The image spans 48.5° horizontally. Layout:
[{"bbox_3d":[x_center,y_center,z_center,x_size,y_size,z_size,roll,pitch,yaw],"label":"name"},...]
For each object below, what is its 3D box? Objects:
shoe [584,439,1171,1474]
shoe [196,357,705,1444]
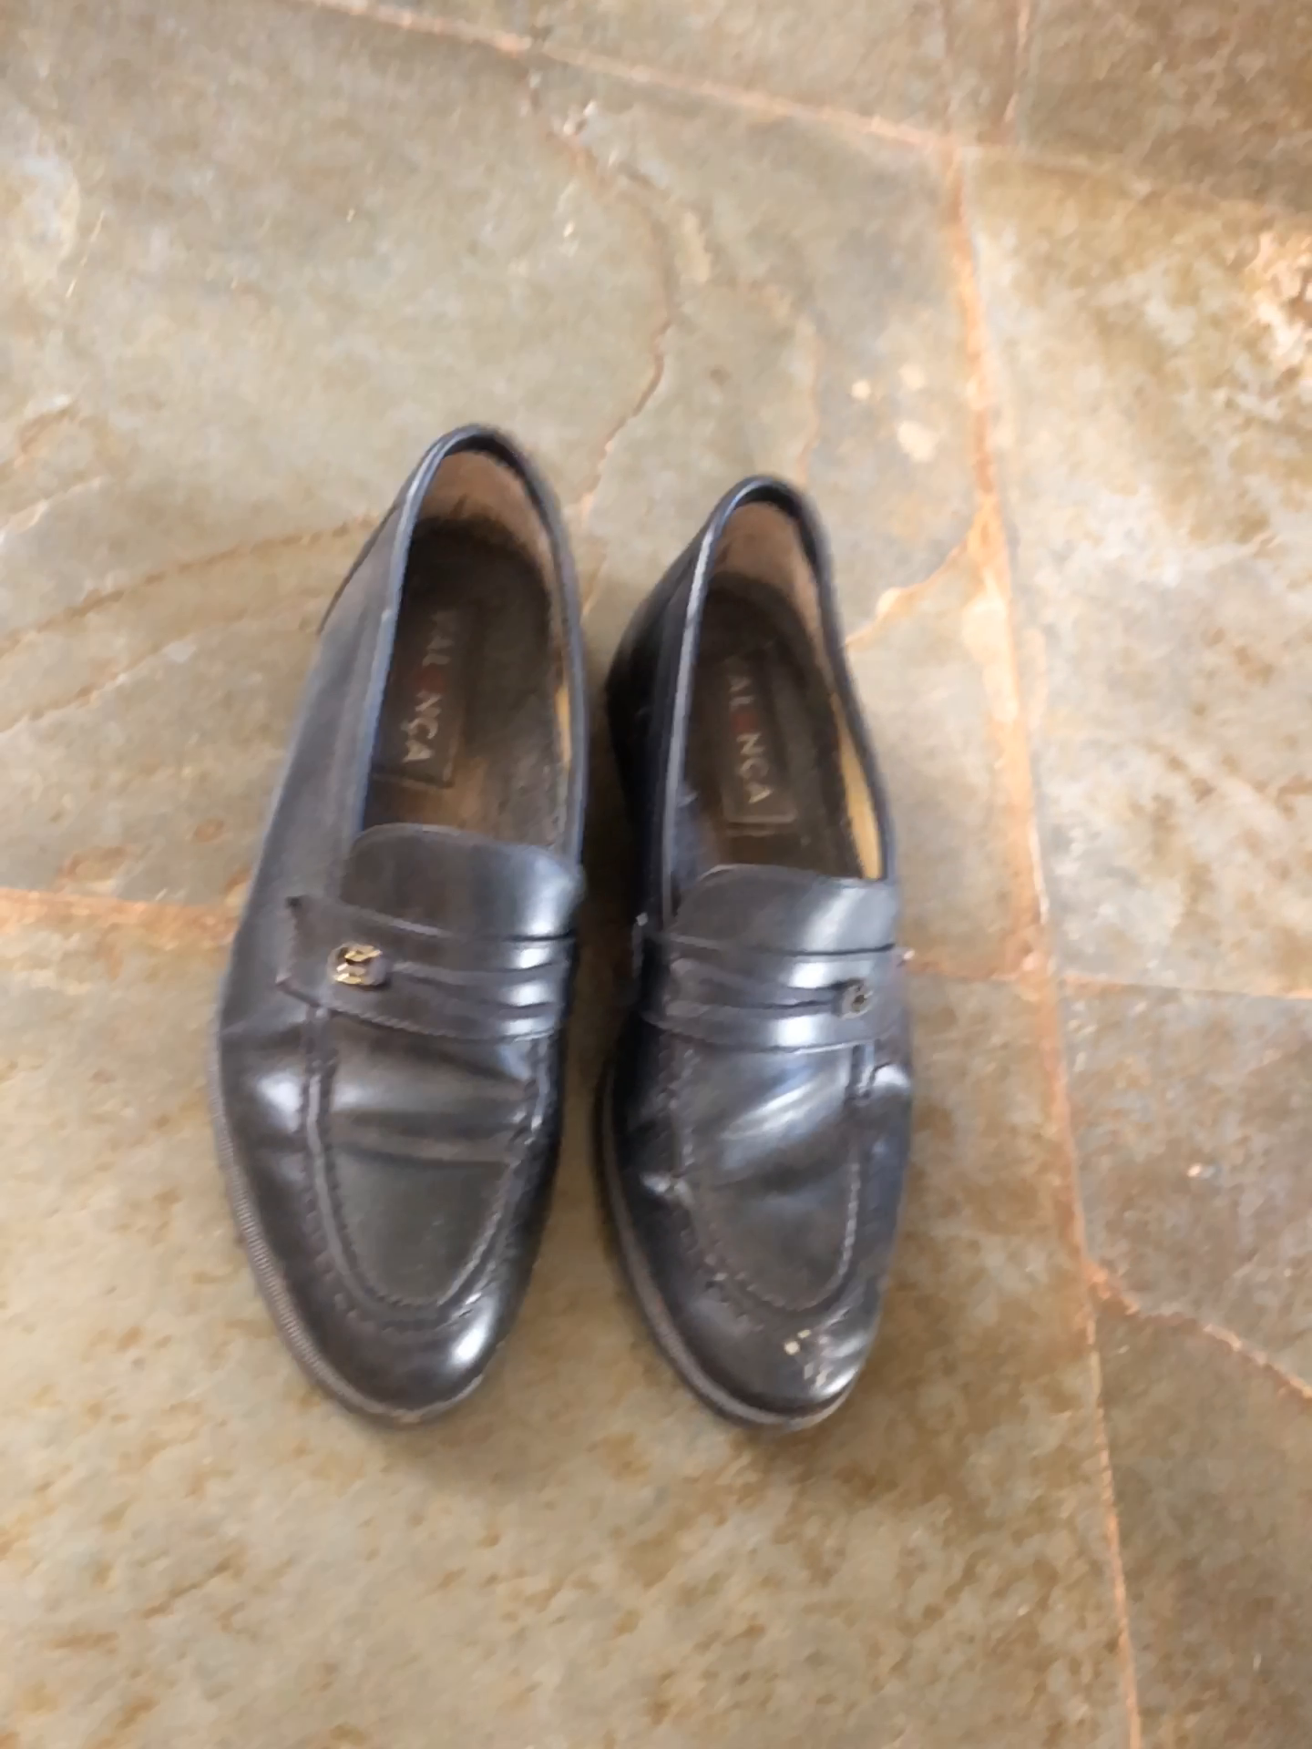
[{"bbox_3d":[0.045,0.021,0.405,0.100,0.100,0.261,2,66,-14],"label":"shoe"},{"bbox_3d":[-0.050,0.008,0.384,0.100,0.100,0.261,6,65,-13],"label":"shoe"}]
